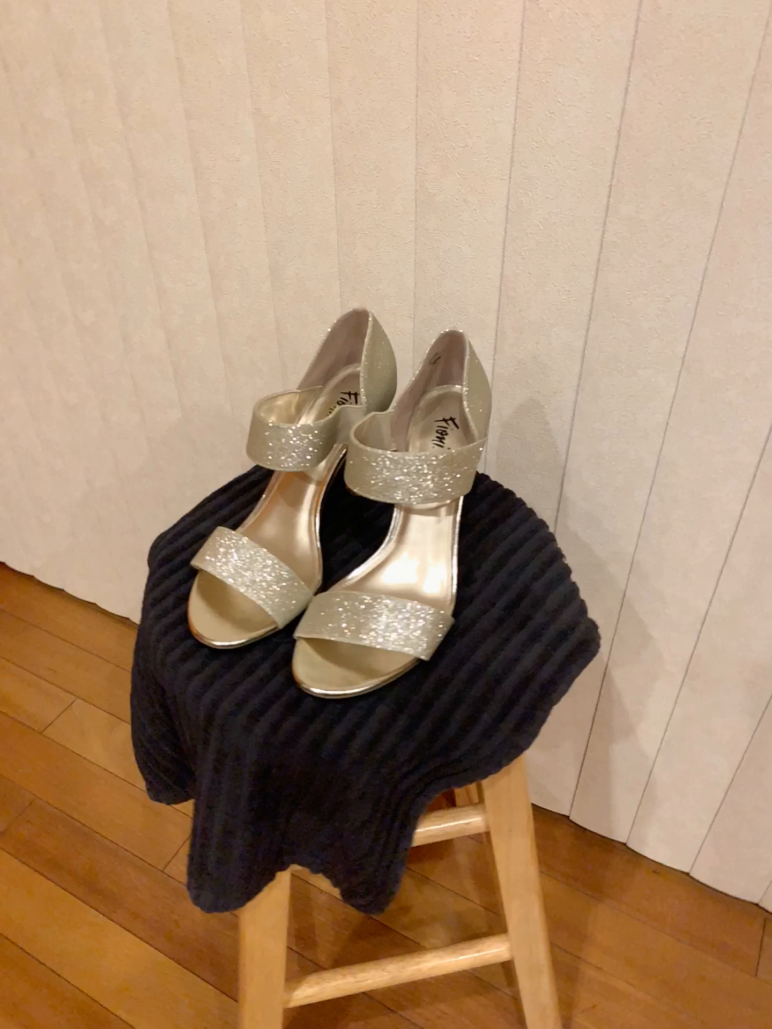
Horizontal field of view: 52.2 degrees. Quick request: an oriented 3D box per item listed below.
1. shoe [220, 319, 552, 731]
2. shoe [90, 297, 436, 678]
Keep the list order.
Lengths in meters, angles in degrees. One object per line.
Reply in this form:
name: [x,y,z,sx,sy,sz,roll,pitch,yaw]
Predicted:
shoe: [0.014,-0.008,0.500,0.090,0.129,0.237,19,43,23]
shoe: [-0.062,-0.032,0.533,0.095,0.129,0.236,19,43,23]
